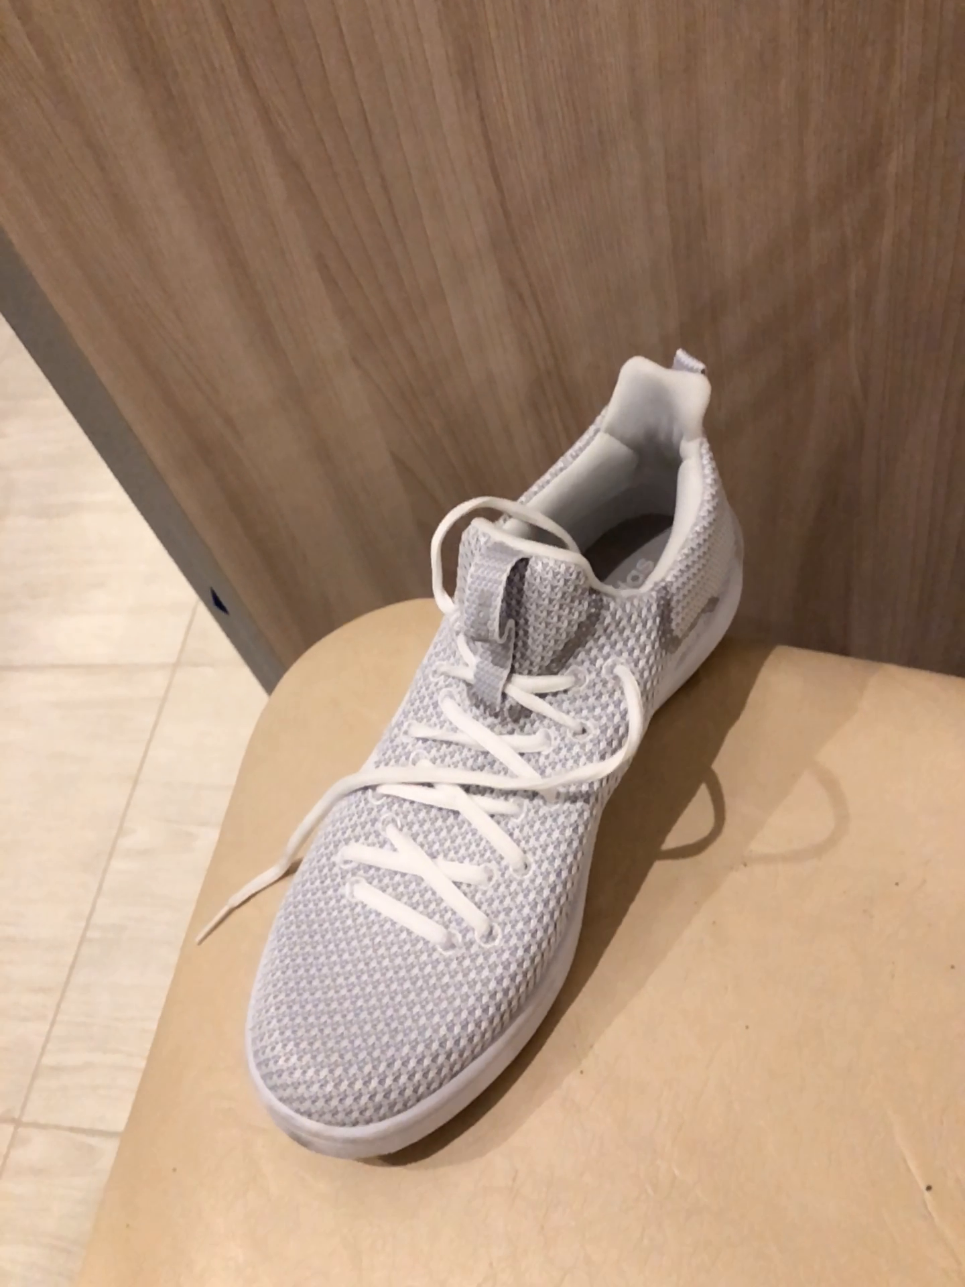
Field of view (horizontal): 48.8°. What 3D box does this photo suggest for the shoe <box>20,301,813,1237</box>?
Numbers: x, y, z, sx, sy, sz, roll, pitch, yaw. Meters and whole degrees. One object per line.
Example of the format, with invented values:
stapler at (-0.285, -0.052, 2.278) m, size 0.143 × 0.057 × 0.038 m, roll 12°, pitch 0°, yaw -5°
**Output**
shoe at (0.006, 0.030, 0.391) m, size 0.110 × 0.129 × 0.301 m, roll 22°, pitch 63°, yaw 28°
